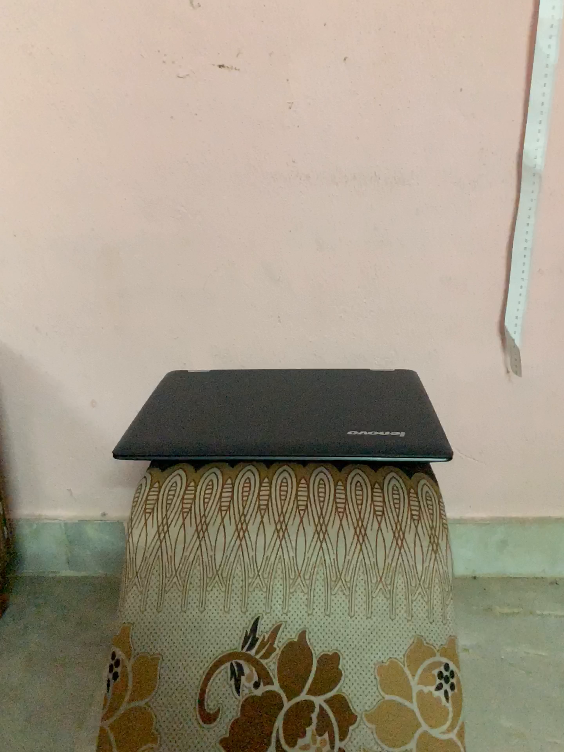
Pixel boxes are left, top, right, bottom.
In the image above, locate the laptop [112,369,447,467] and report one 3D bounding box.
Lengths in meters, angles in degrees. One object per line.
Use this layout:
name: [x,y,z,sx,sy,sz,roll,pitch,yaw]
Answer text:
laptop: [0.003,0.039,0.635,0.312,0.012,0.214,0,22,4]
